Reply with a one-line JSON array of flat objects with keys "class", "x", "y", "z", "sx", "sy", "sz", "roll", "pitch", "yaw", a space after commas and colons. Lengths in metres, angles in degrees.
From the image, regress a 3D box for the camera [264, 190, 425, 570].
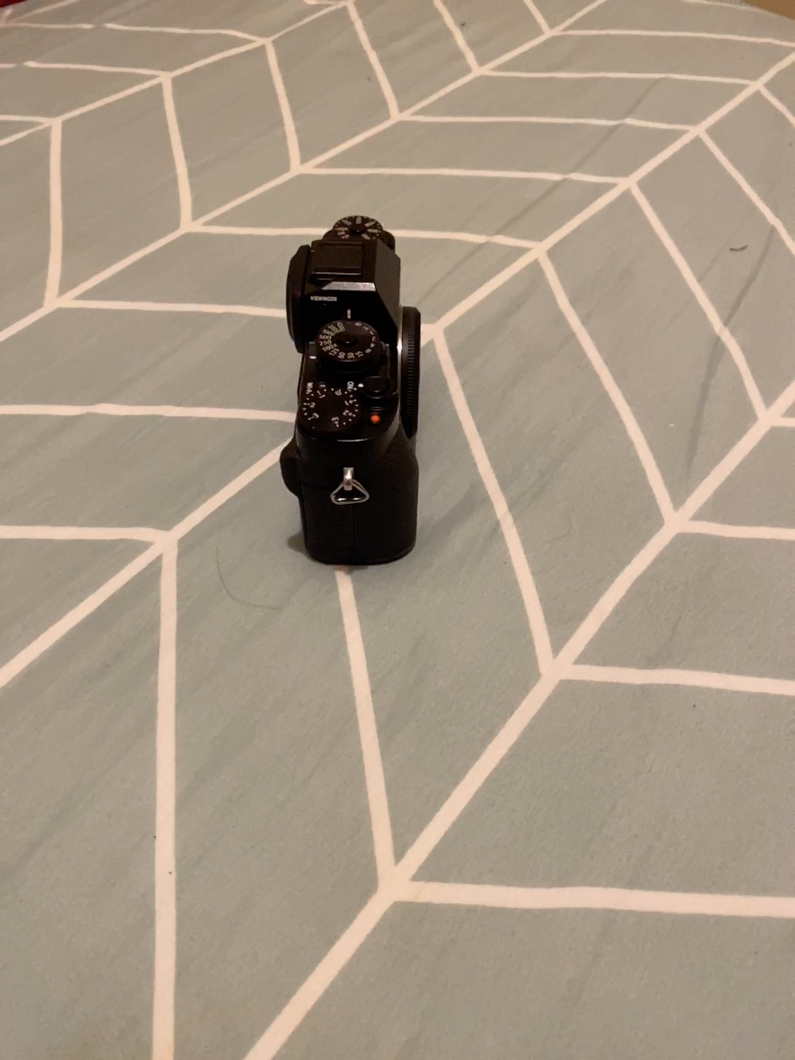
[{"class": "camera", "x": -0.017, "y": -0.063, "z": 0.335, "sx": 0.051, "sy": 0.087, "sz": 0.131, "roll": 2, "pitch": 52, "yaw": -1}]
